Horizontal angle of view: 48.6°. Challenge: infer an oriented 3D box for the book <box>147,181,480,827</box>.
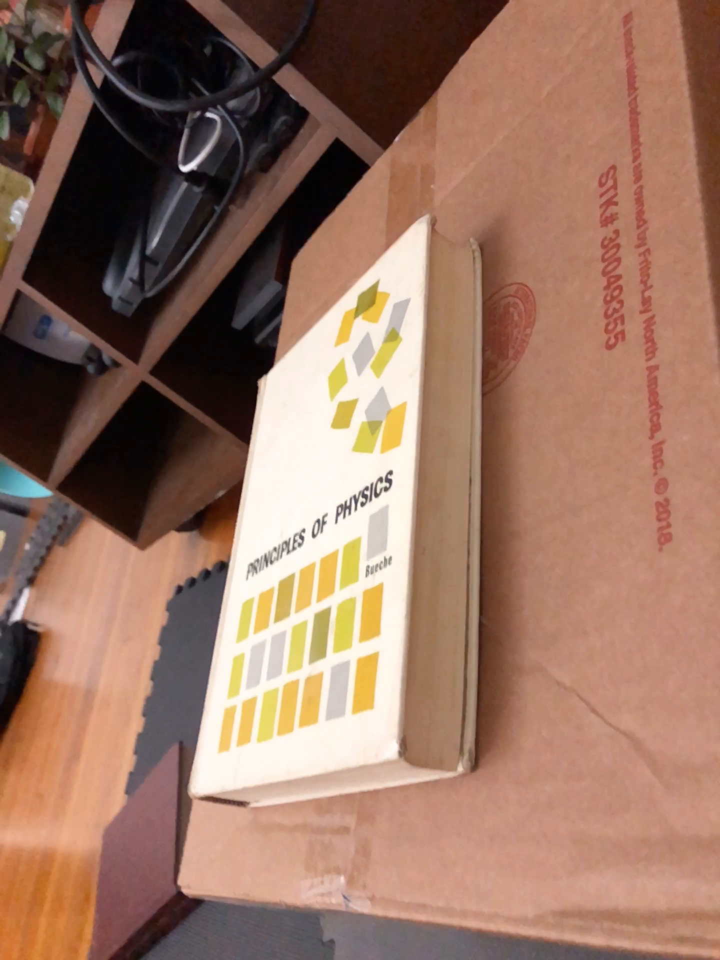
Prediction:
[{"bbox_3d":[-0.021,0.018,0.365,0.180,0.040,0.251,-34,42,50],"label":"book"}]
